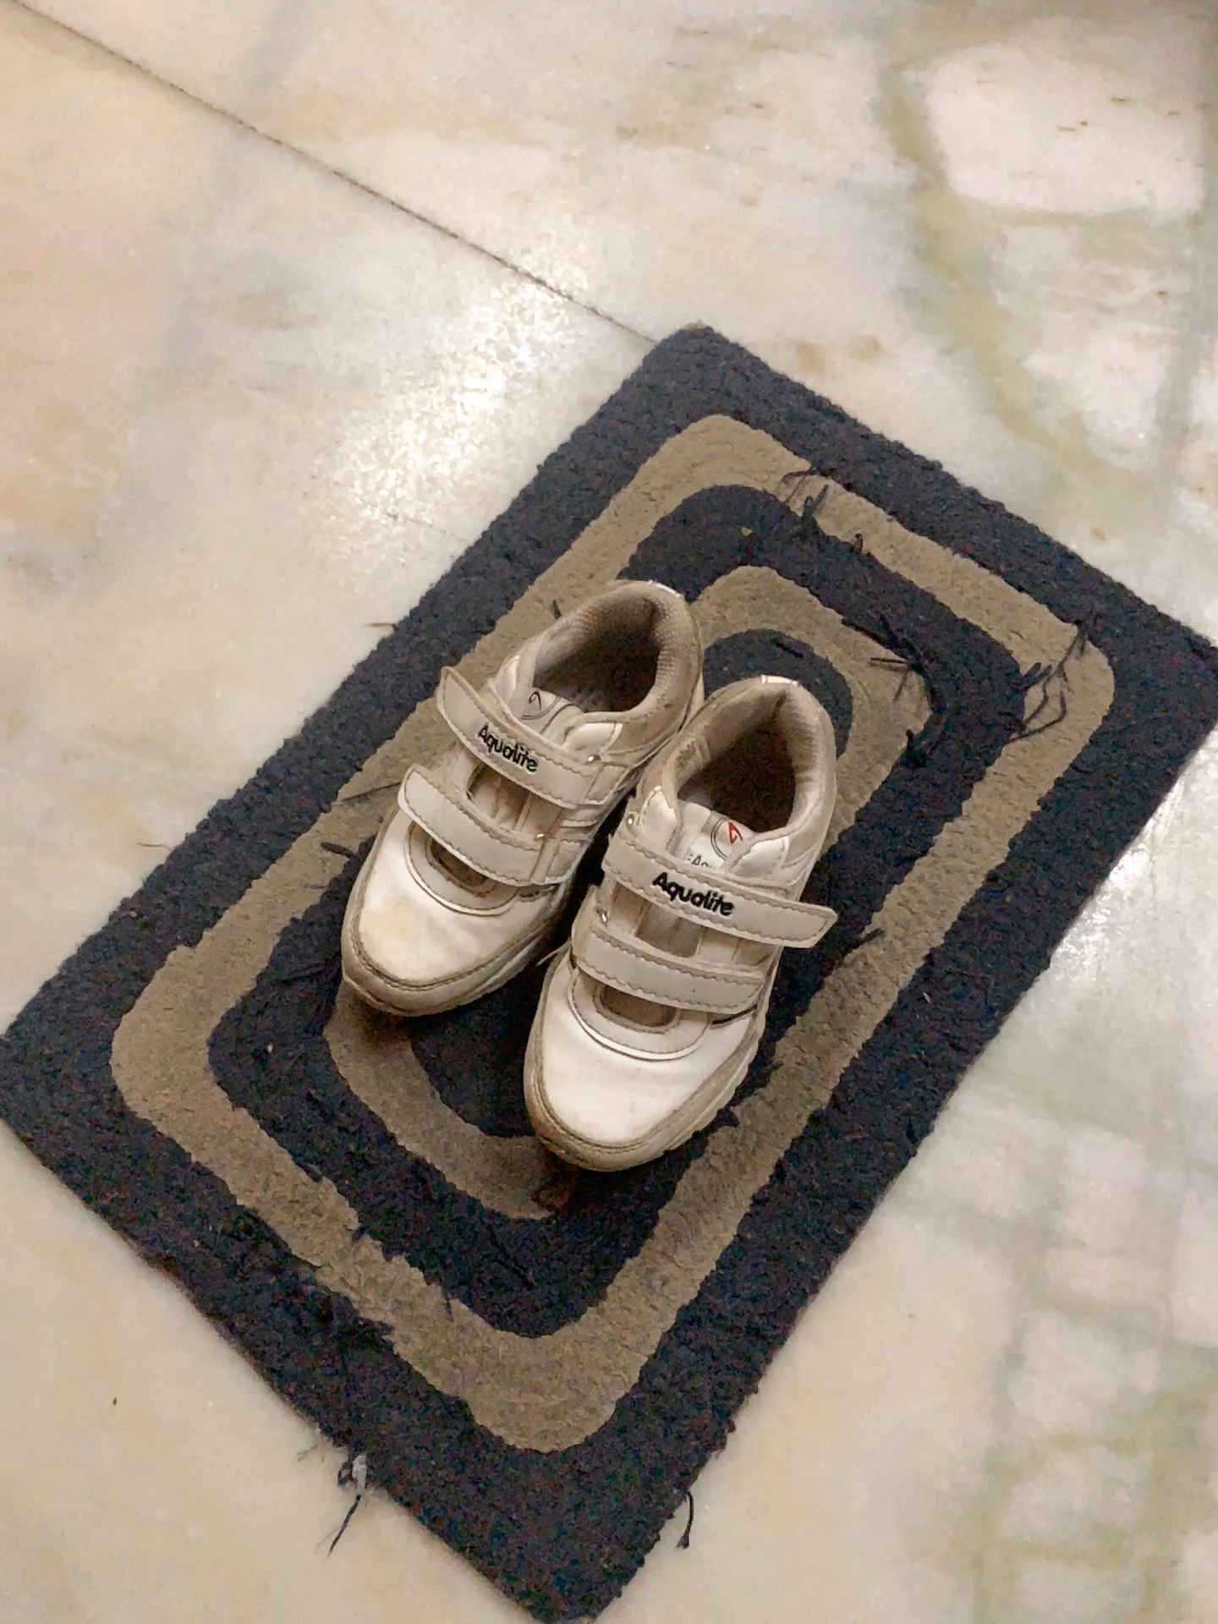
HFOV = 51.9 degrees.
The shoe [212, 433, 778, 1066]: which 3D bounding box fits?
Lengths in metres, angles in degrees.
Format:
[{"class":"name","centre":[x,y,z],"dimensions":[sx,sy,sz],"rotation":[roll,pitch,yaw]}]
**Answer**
[{"class":"shoe","centre":[-0.032,-0.021,0.451],"dimensions":[0.080,0.090,0.200],"rotation":[34,74,12]}]

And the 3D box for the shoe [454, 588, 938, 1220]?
[{"class":"shoe","centre":[0.033,0.034,0.442],"dimensions":[0.080,0.090,0.190],"rotation":[25,72,10]}]
